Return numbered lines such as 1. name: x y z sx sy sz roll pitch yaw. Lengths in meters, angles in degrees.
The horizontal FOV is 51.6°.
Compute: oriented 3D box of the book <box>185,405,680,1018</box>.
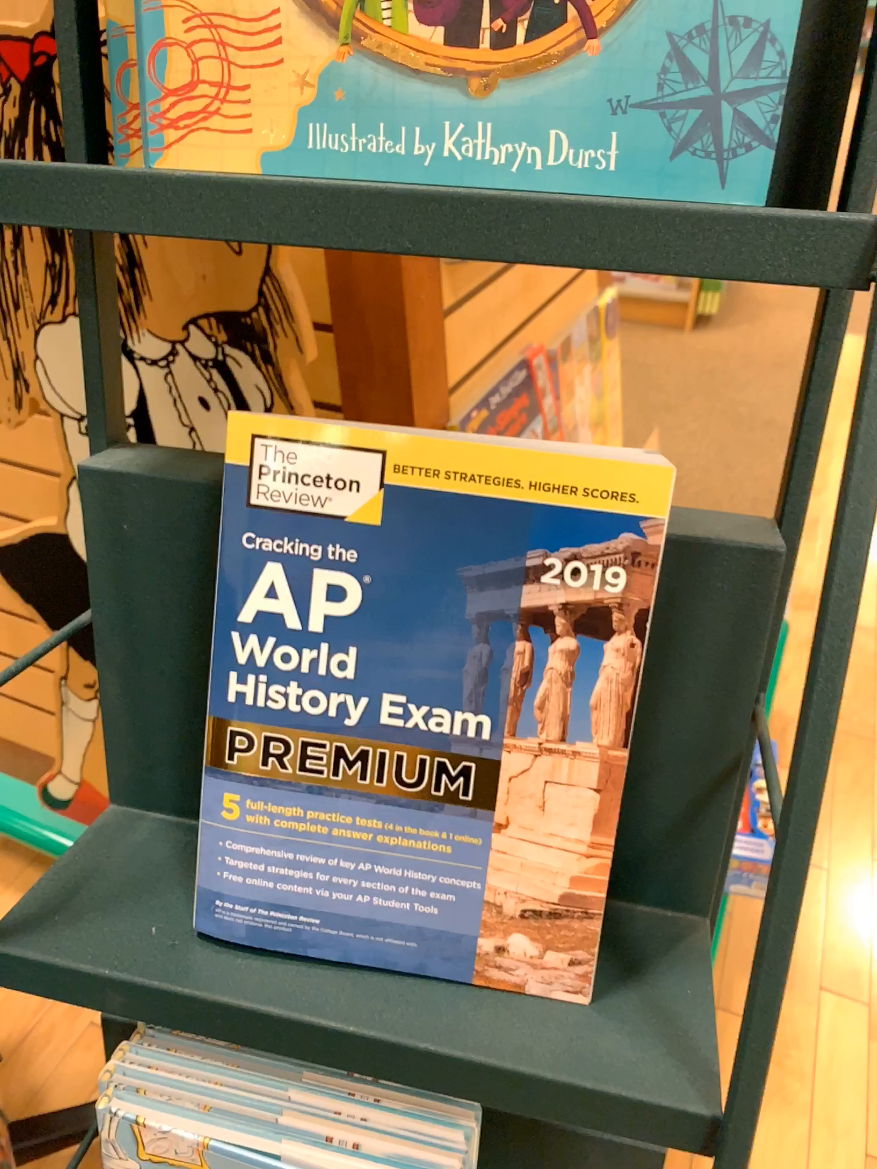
1. book: -0.009 0.057 0.453 0.214 0.270 0.057 6 10 9
